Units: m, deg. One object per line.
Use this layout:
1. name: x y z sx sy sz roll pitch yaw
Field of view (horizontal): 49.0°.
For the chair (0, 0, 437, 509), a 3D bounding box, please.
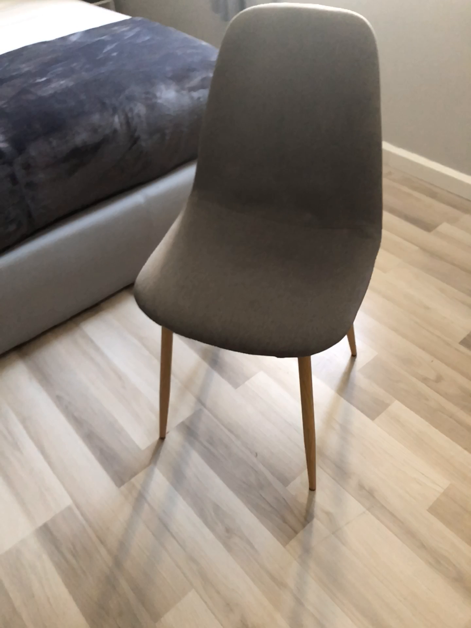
1. chair: 0.040 -0.122 1.048 0.470 0.785 0.574 14 47 17
